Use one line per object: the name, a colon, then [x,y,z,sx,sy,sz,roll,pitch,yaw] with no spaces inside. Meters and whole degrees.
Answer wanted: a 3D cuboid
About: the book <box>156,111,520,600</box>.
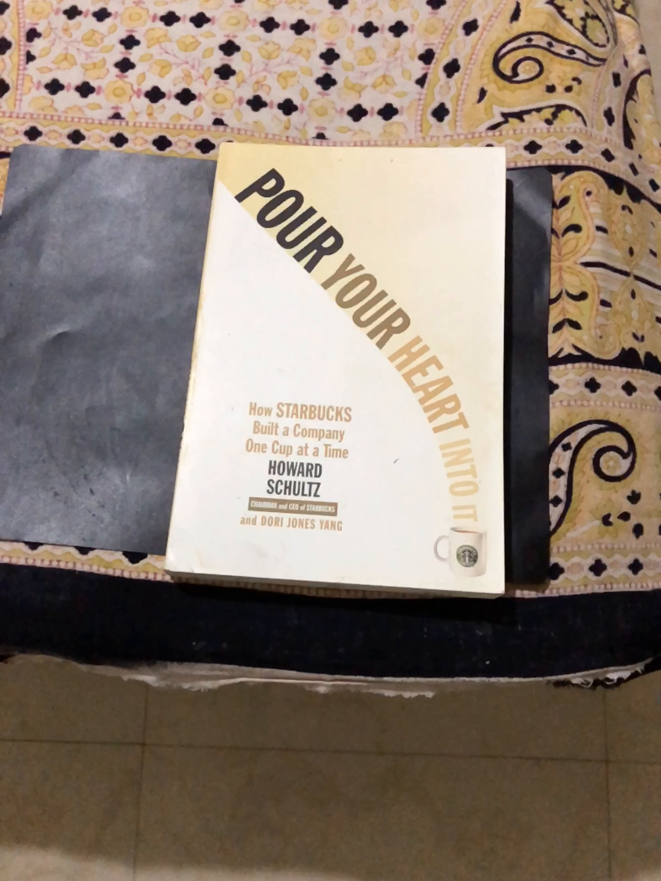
book: [0.011,-0.047,0.378,0.160,0.050,0.240,4,74,1]
